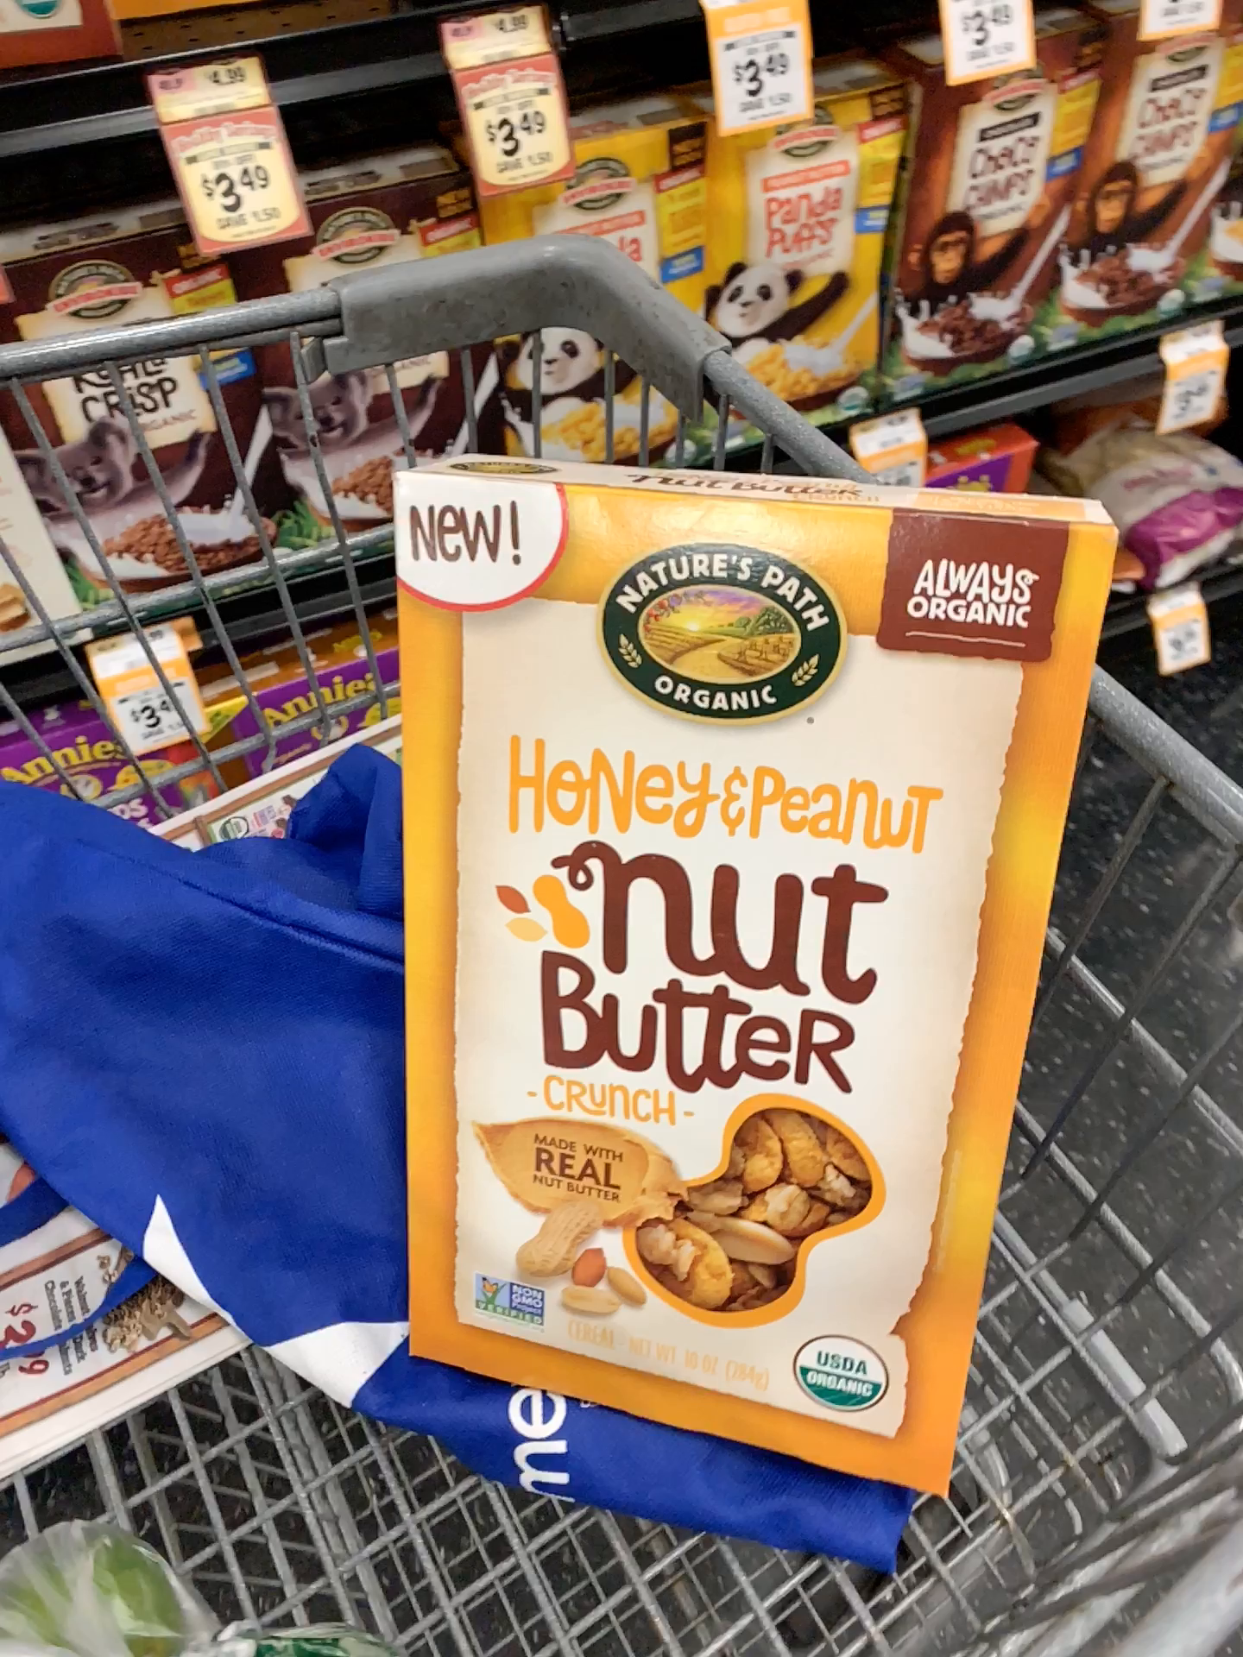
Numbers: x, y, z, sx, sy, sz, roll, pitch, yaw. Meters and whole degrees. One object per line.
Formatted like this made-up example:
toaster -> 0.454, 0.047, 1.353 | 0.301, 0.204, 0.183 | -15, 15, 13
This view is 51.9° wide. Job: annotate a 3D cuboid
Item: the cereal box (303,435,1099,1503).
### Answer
cereal box -> 0.011, 0.034, 0.314 | 0.160, 0.239, 0.050 | 8, 21, 15
